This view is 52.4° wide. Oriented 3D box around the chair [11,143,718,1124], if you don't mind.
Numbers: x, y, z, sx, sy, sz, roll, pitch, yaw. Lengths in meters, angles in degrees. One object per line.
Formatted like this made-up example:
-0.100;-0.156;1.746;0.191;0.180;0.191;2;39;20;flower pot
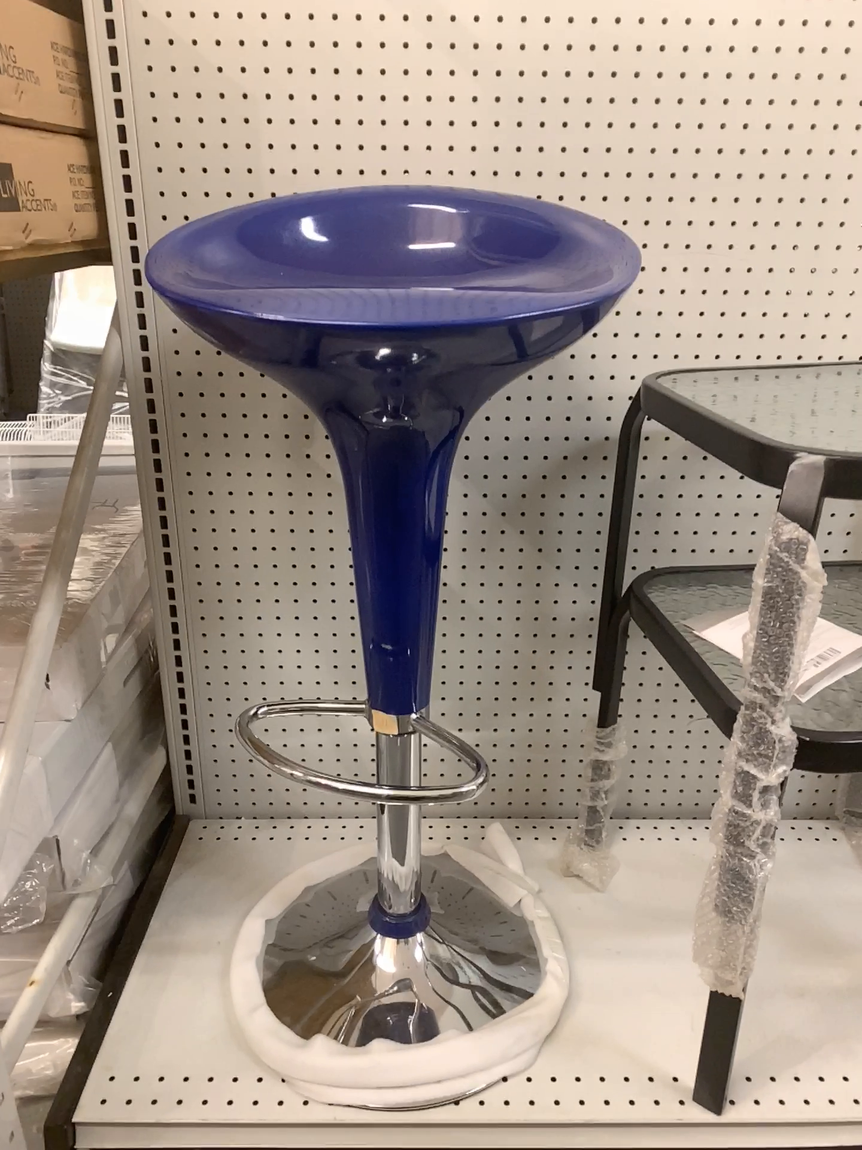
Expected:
-0.045;0.055;0.888;0.434;0.853;0.419;0;22;-1;chair
